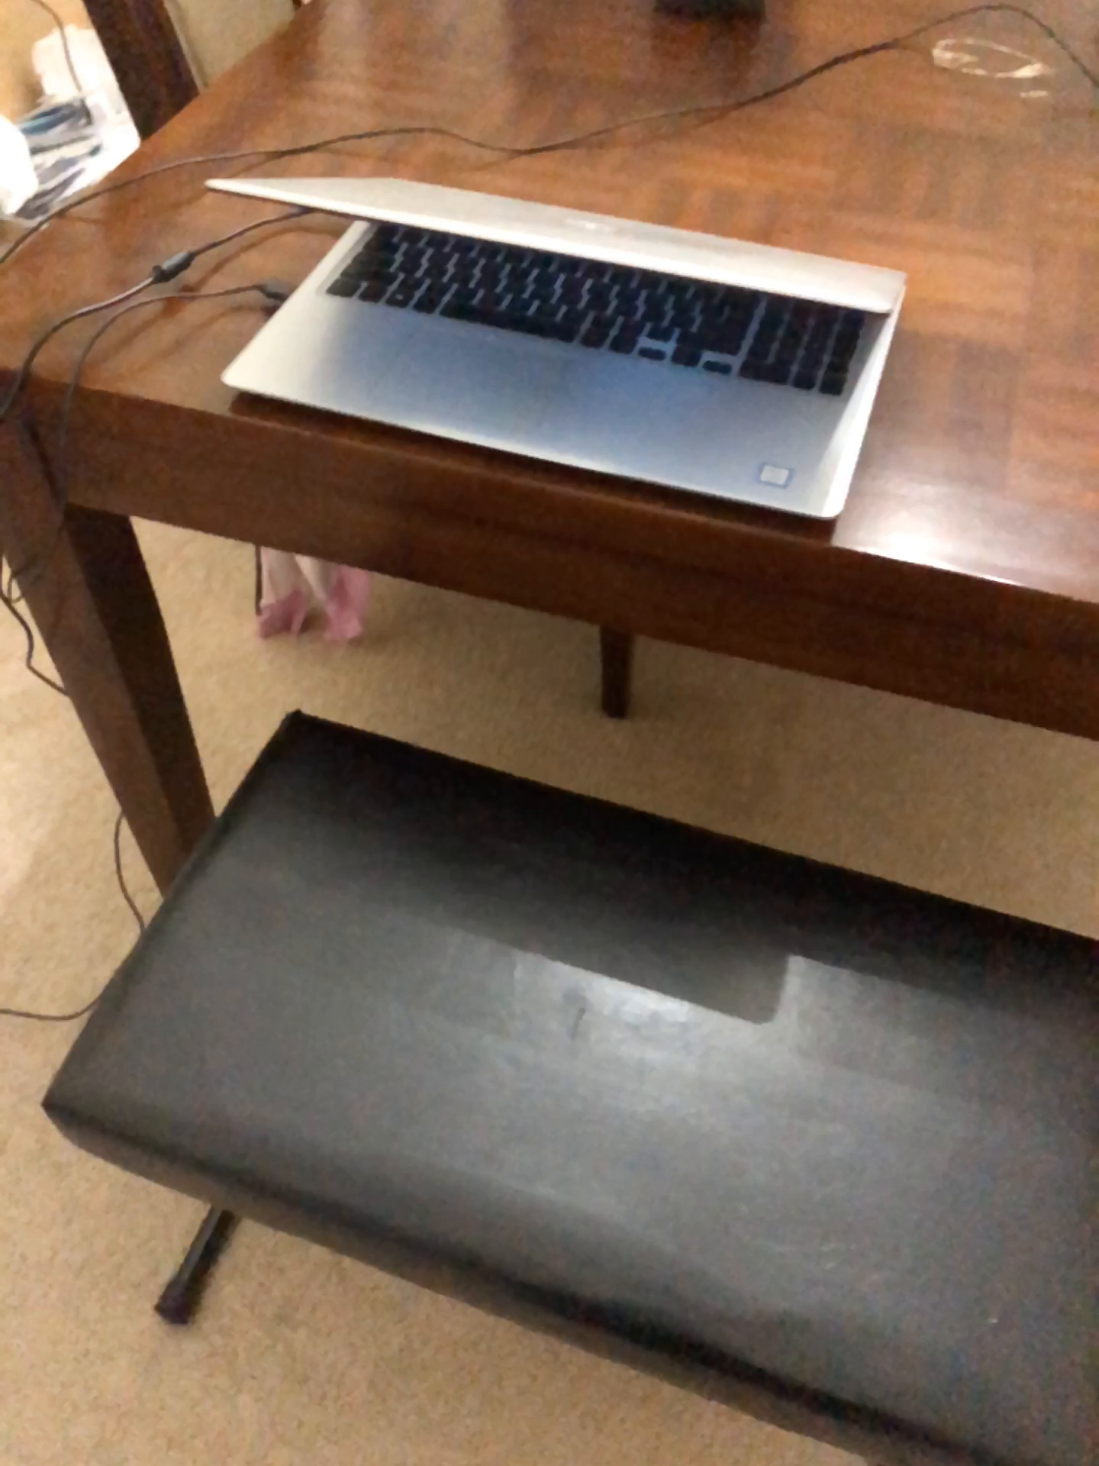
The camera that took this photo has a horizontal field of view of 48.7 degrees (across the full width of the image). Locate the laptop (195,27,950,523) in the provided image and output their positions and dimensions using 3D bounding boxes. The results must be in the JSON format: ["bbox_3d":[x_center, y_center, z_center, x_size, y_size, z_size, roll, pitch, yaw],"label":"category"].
[{"bbox_3d":[0.022,-0.286,0.718,0.368,0.103,0.250,15,53,12],"label":"laptop"}]
